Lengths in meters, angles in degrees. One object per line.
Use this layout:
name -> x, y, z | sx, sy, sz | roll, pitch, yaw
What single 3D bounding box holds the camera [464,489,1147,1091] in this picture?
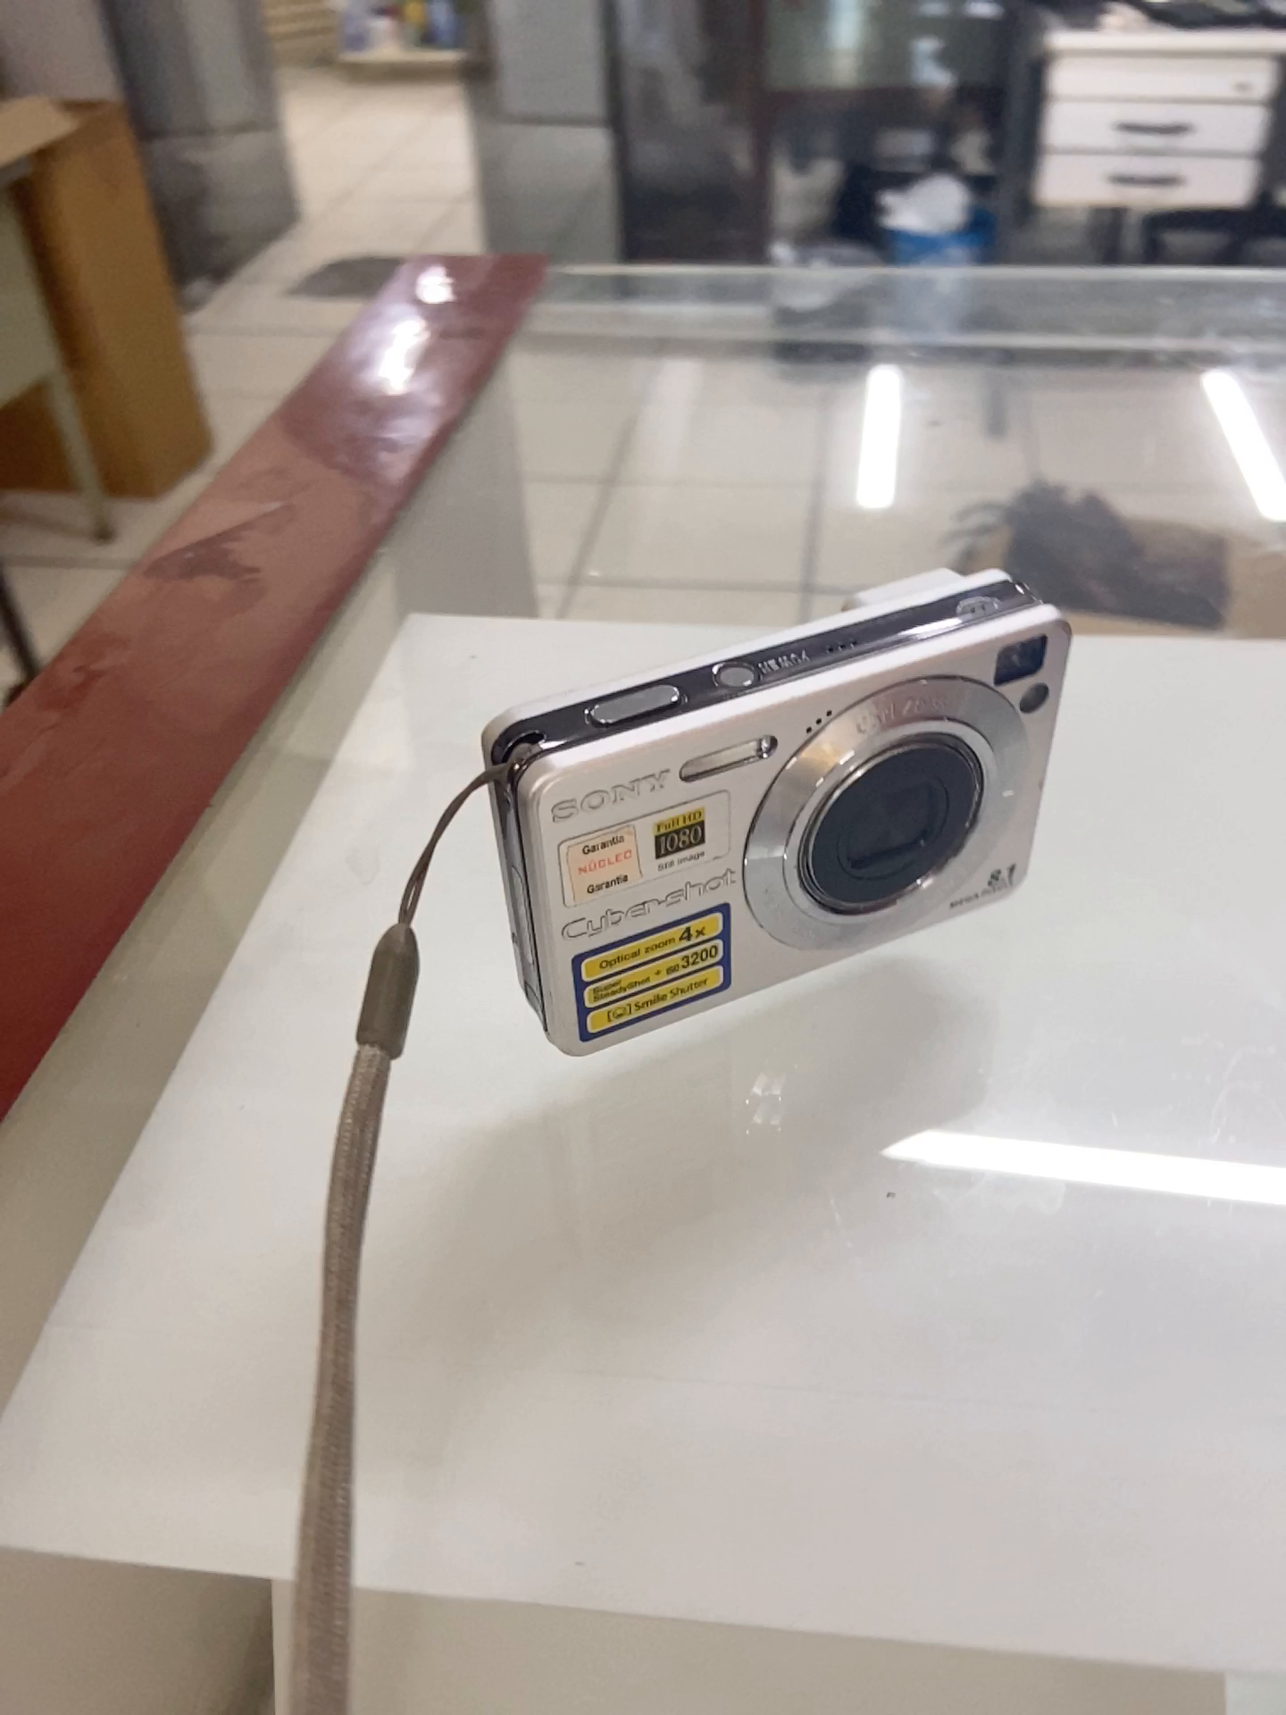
camera -> 0.024, -0.011, 0.201 | 0.090, 0.060, 0.030 | -19, 42, -18
